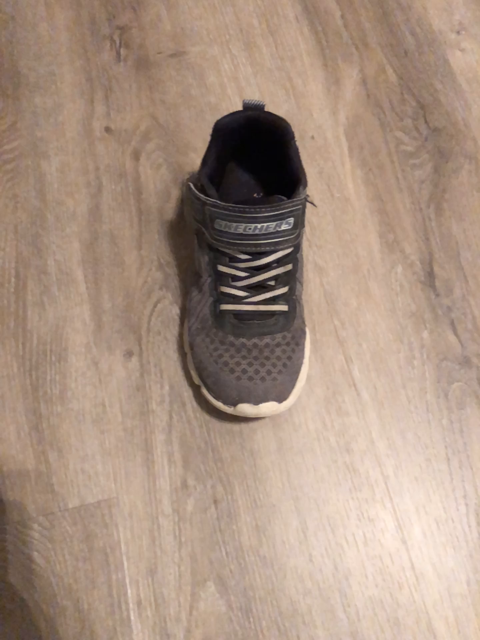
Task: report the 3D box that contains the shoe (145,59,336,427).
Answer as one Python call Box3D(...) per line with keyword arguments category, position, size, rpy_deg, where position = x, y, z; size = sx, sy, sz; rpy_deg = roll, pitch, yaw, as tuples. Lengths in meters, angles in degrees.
Box3D(category="shoe", position=(0.002, -0.052, 0.368), size=(0.100, 0.100, 0.230), rpy_deg=(1, 69, 0))
